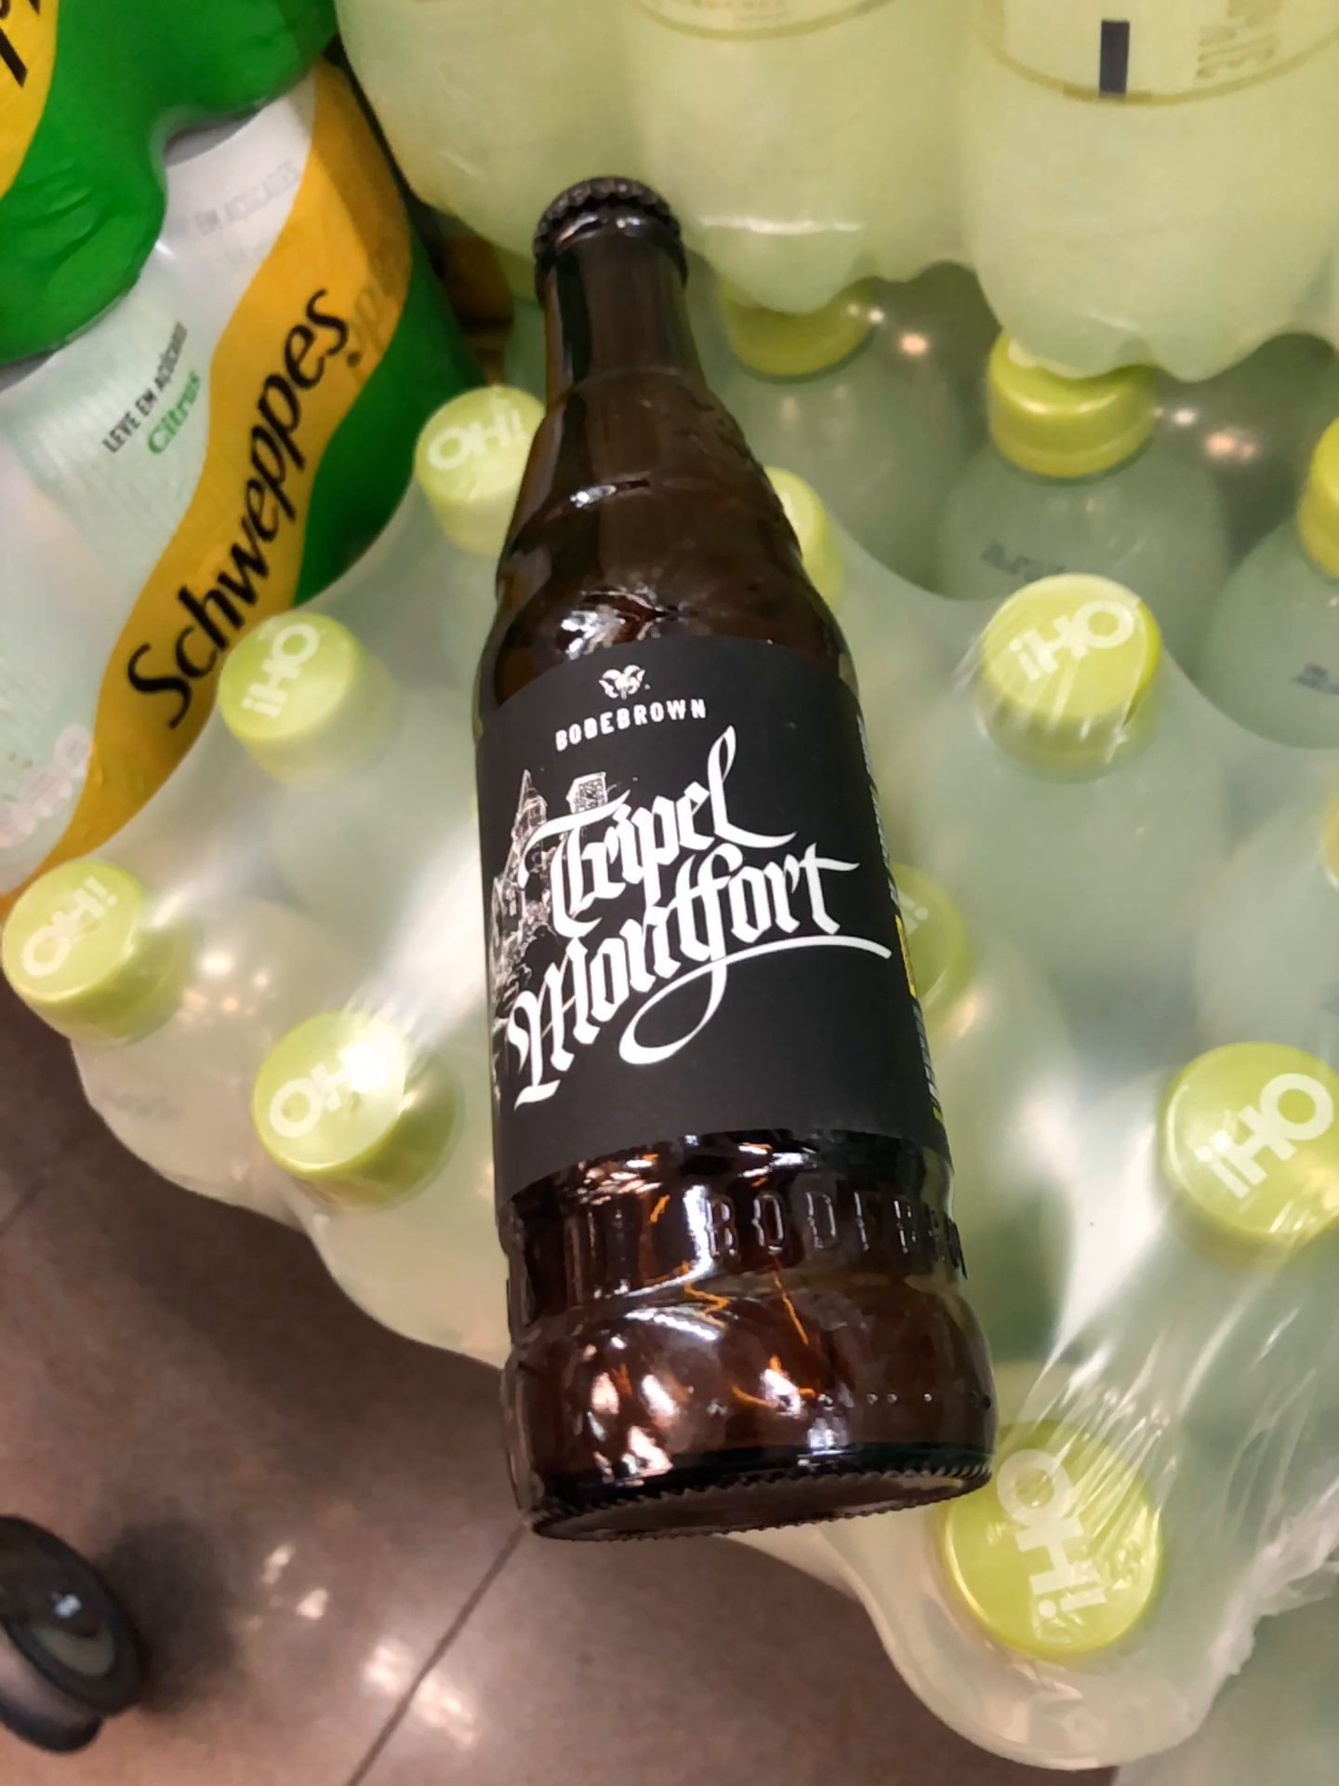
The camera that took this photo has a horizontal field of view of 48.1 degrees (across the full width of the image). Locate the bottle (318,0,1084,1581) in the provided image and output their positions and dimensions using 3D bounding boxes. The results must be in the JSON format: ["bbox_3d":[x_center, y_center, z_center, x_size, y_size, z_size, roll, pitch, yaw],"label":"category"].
[{"bbox_3d":[-0.002,-0.040,0.221,0.070,0.070,0.251,-10,63,9],"label":"bottle"}]
